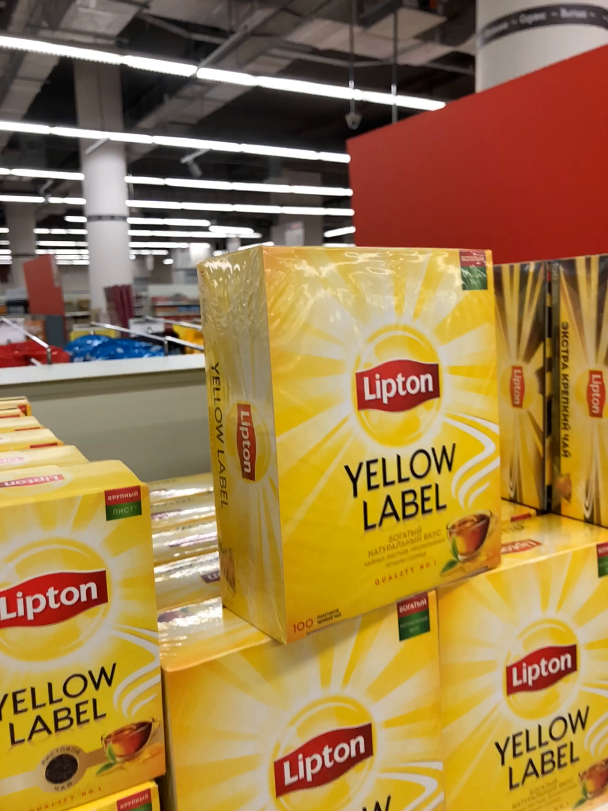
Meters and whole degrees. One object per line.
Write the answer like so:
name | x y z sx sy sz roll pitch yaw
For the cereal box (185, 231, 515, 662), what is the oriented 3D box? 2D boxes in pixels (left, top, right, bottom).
cereal box | 0.027 0.009 0.330 0.140 0.170 0.070 -7 7 -34
